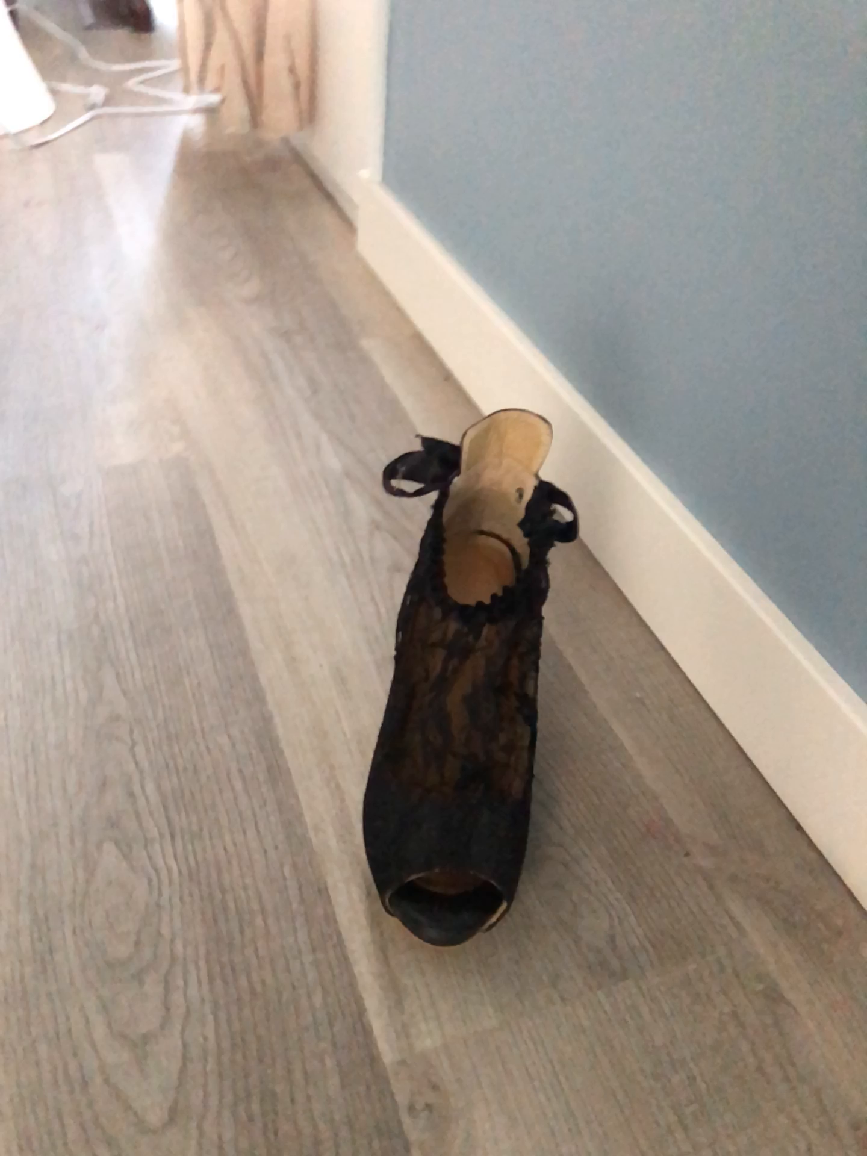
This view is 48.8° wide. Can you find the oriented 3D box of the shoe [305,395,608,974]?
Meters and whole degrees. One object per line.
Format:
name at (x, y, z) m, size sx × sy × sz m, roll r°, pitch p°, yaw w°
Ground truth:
shoe at (0.018, 0.036, 0.445) m, size 0.100 × 0.140 × 0.221 m, roll 9°, pitch 40°, yaw 4°
